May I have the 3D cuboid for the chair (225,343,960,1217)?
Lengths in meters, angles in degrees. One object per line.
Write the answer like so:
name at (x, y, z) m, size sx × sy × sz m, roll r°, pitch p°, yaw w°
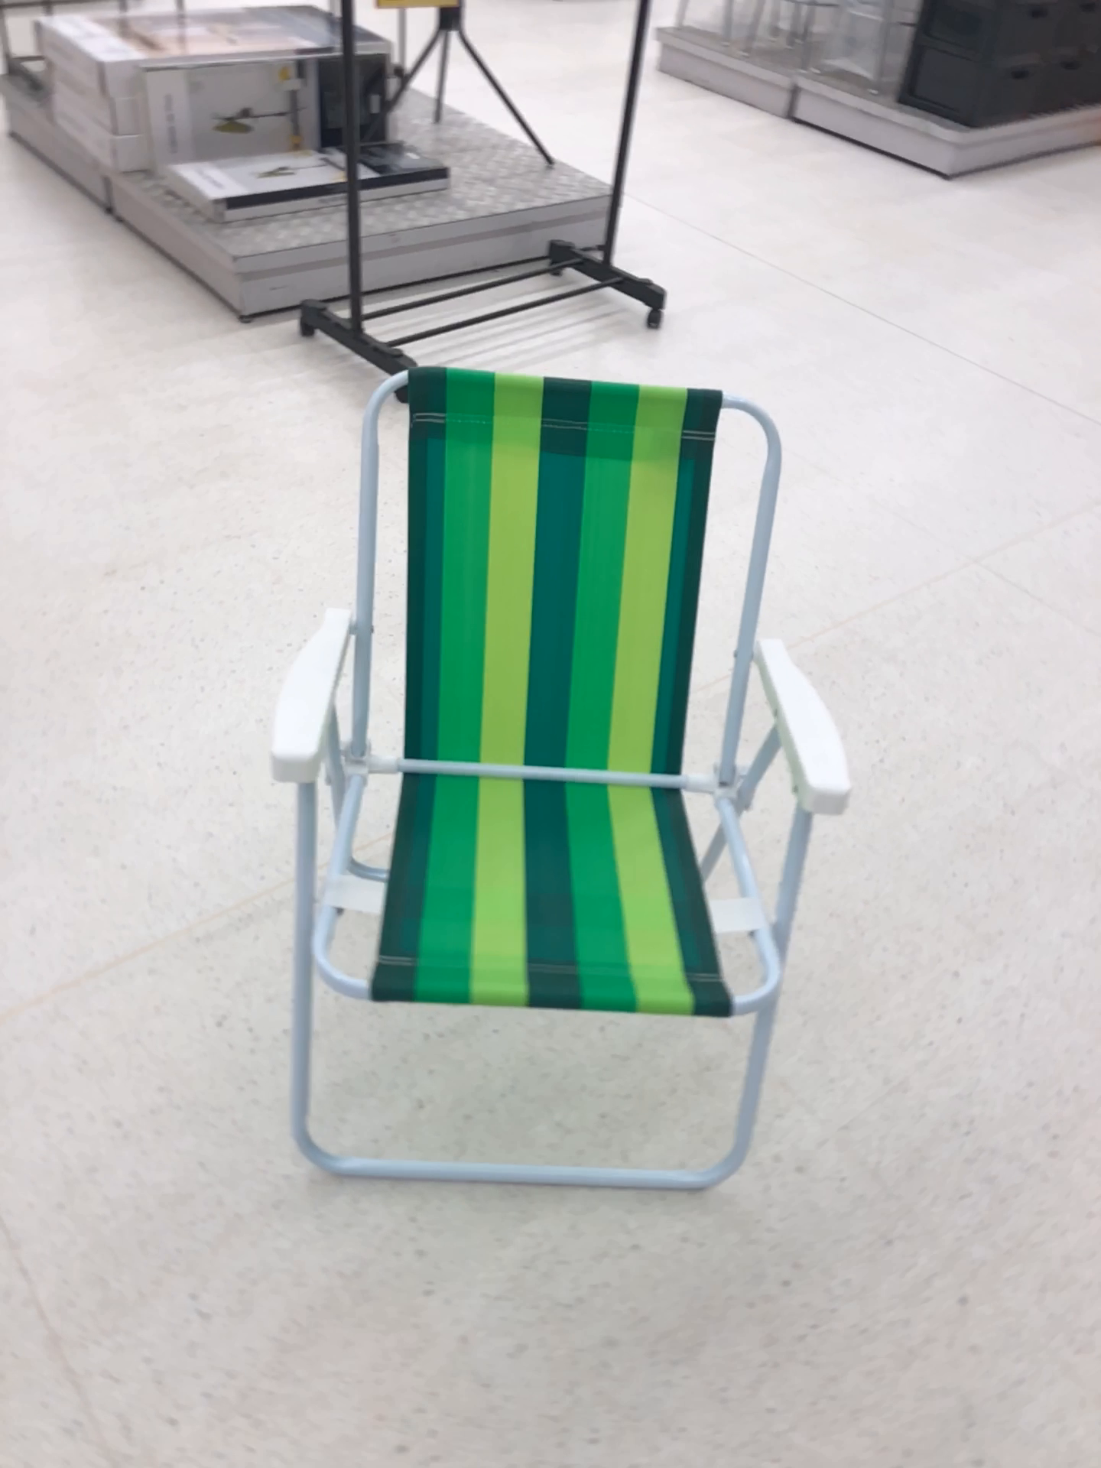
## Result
chair at (-0.001, 0.066, 1.255) m, size 0.510 × 0.715 × 0.524 m, roll 4°, pitch 40°, yaw -4°
